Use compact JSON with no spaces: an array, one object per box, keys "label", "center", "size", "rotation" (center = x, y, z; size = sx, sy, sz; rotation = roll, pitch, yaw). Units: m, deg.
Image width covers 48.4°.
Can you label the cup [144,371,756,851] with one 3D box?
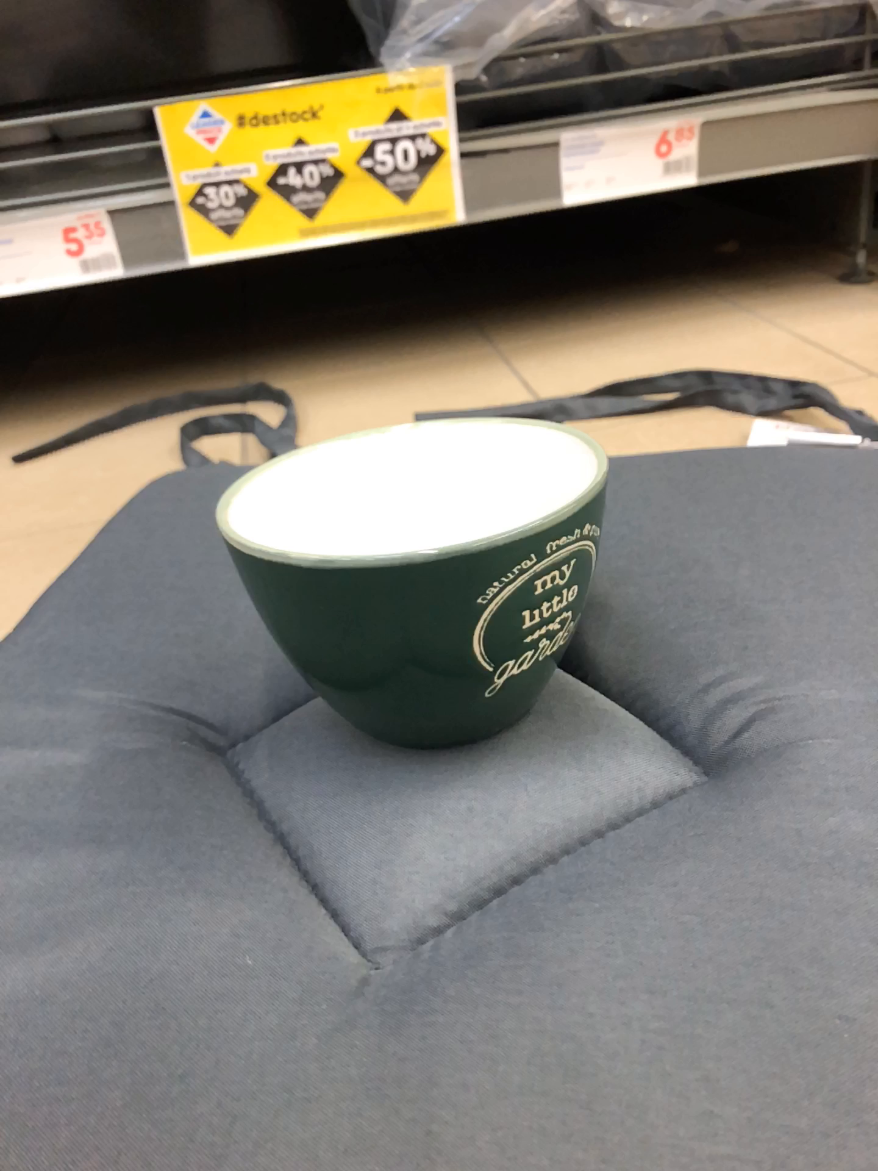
[{"label":"cup","center":[0.004,-0.007,0.295],"size":[0.131,0.060,0.120],"rotation":[-6,30,4]}]
